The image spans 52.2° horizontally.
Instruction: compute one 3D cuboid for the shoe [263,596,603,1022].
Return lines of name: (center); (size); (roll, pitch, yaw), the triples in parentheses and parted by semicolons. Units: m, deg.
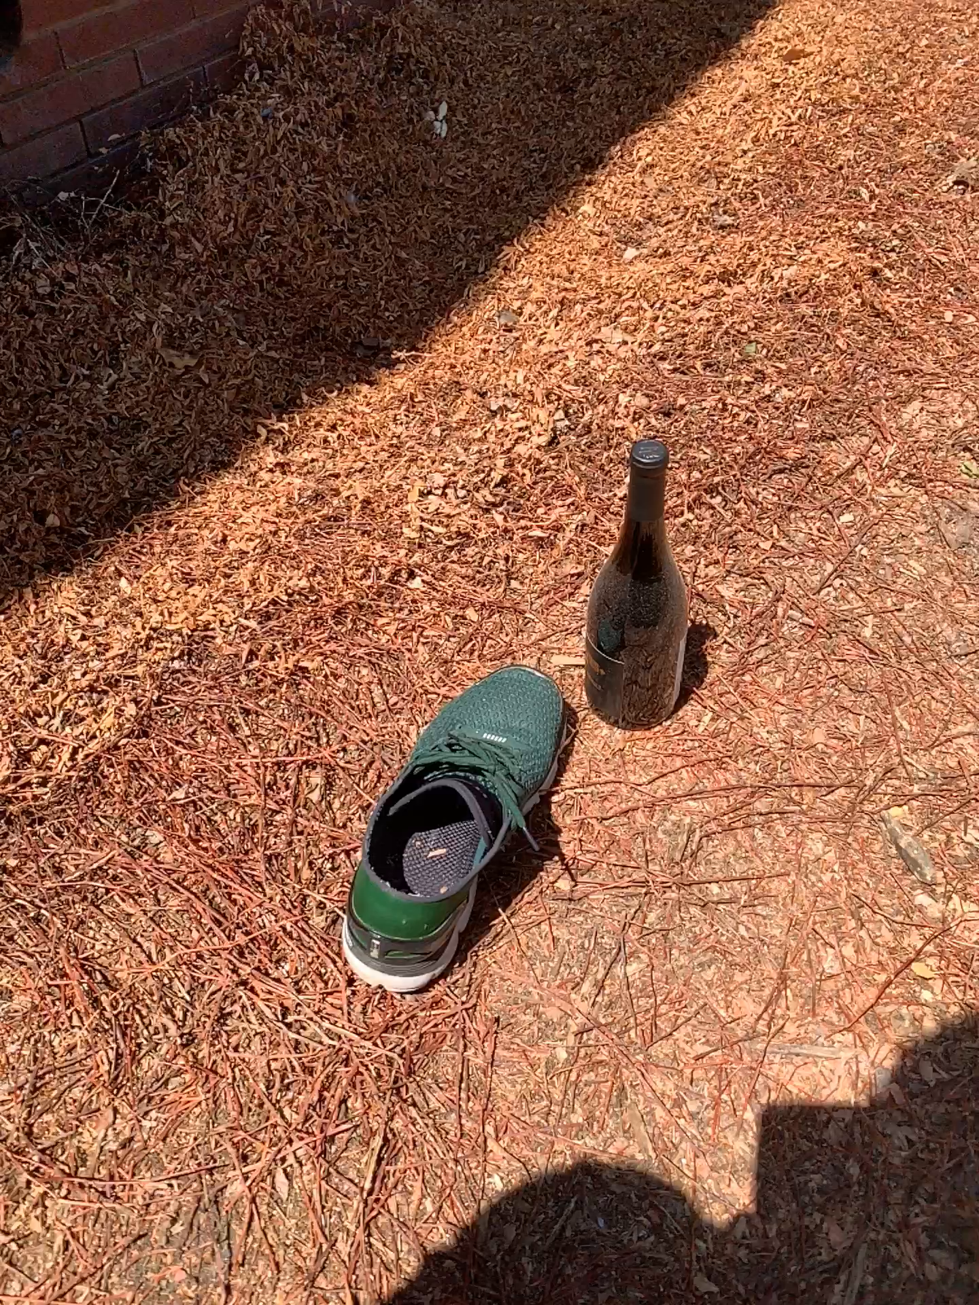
shoe: (-0.029, 0.106, 0.777); (0.130, 0.099, 0.301); (19, 50, 17)
